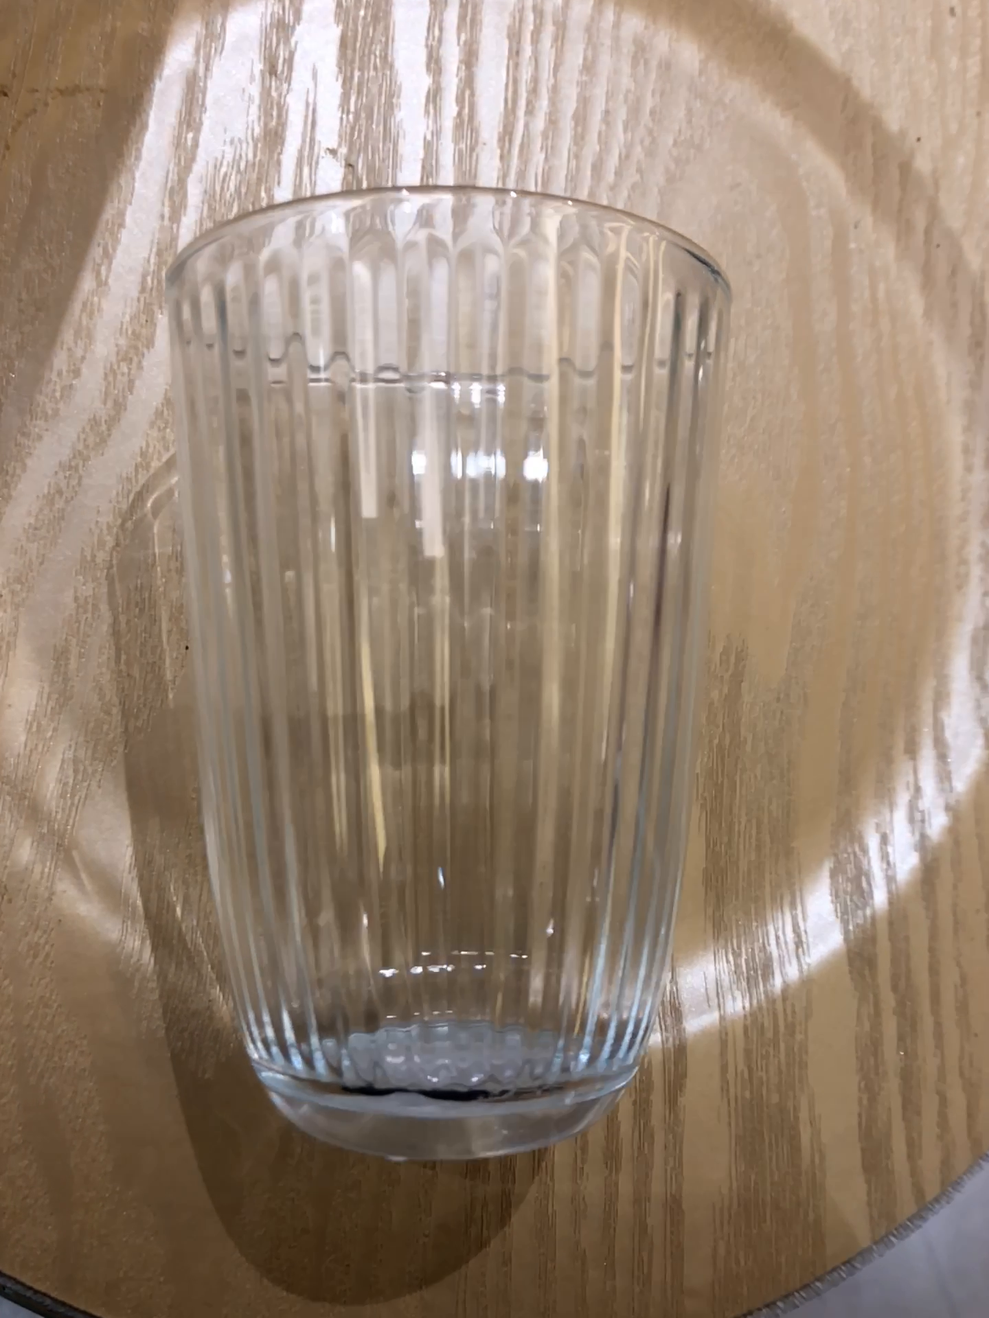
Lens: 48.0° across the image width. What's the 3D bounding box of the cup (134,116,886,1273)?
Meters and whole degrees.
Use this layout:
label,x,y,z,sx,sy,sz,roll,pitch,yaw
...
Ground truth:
label,x,y,z,sx,sy,sz,roll,pitch,yaw
cup,-0.006,0.004,0.171,0.090,0.070,0.130,-1,82,-17
